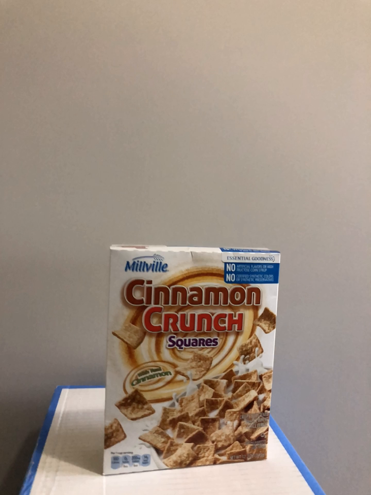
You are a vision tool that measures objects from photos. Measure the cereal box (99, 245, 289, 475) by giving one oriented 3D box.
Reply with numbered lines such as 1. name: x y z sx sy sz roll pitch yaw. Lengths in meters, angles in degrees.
1. cereal box: 0.005 0.128 0.501 0.210 0.250 0.070 1 6 -11
